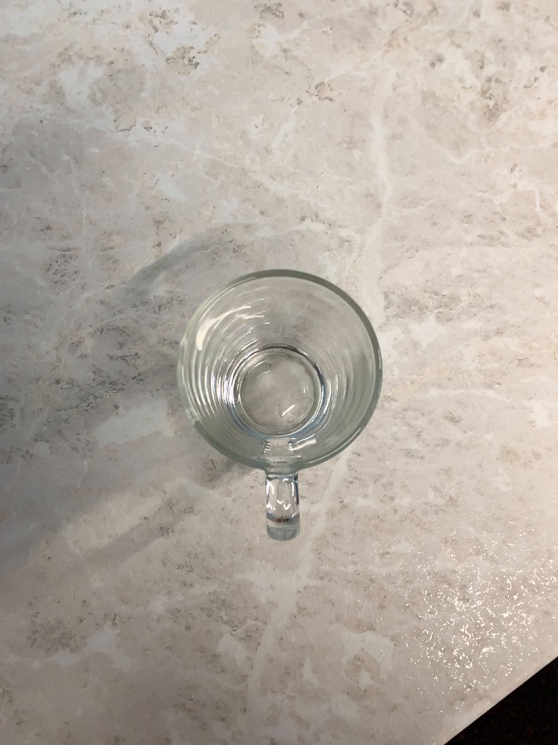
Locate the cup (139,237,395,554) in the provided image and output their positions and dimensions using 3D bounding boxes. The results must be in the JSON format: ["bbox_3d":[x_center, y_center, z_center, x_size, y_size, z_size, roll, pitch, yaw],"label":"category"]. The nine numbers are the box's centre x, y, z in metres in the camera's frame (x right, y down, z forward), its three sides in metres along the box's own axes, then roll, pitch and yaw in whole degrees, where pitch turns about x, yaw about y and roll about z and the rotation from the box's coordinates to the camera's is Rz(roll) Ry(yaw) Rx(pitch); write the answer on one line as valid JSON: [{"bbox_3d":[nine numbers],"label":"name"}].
[{"bbox_3d":[-0.003,0.013,0.268,0.089,0.097,0.115,4,82,0],"label":"cup"}]
